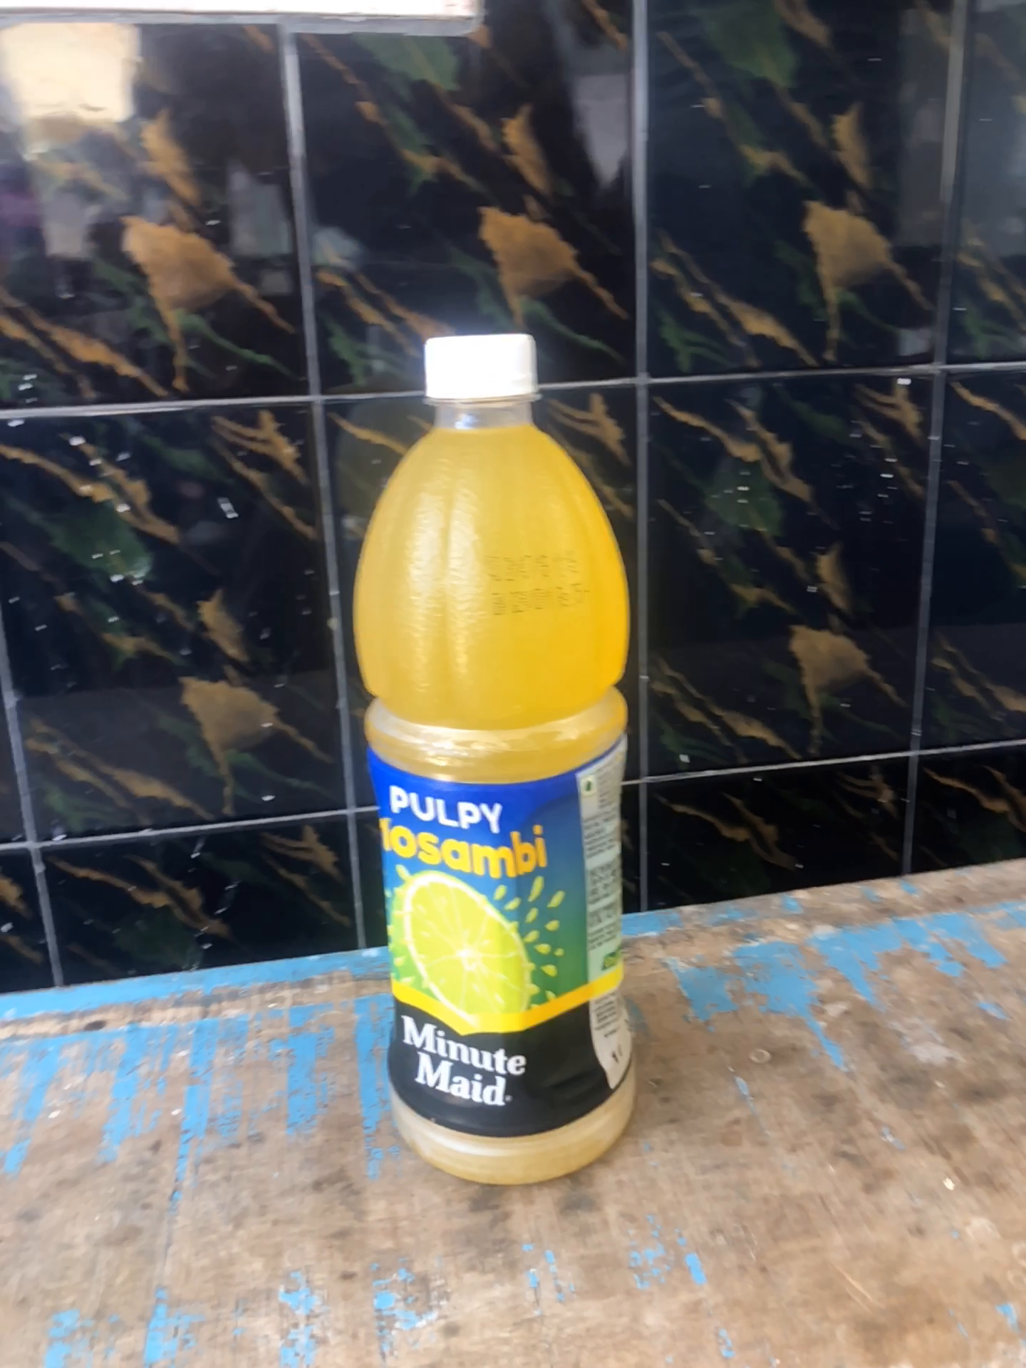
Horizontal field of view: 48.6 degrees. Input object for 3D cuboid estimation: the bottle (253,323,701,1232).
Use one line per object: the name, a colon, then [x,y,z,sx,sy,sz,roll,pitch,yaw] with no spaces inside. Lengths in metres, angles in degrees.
bottle: [0.000,0.021,0.353,0.090,0.249,0.101,6,19,23]
